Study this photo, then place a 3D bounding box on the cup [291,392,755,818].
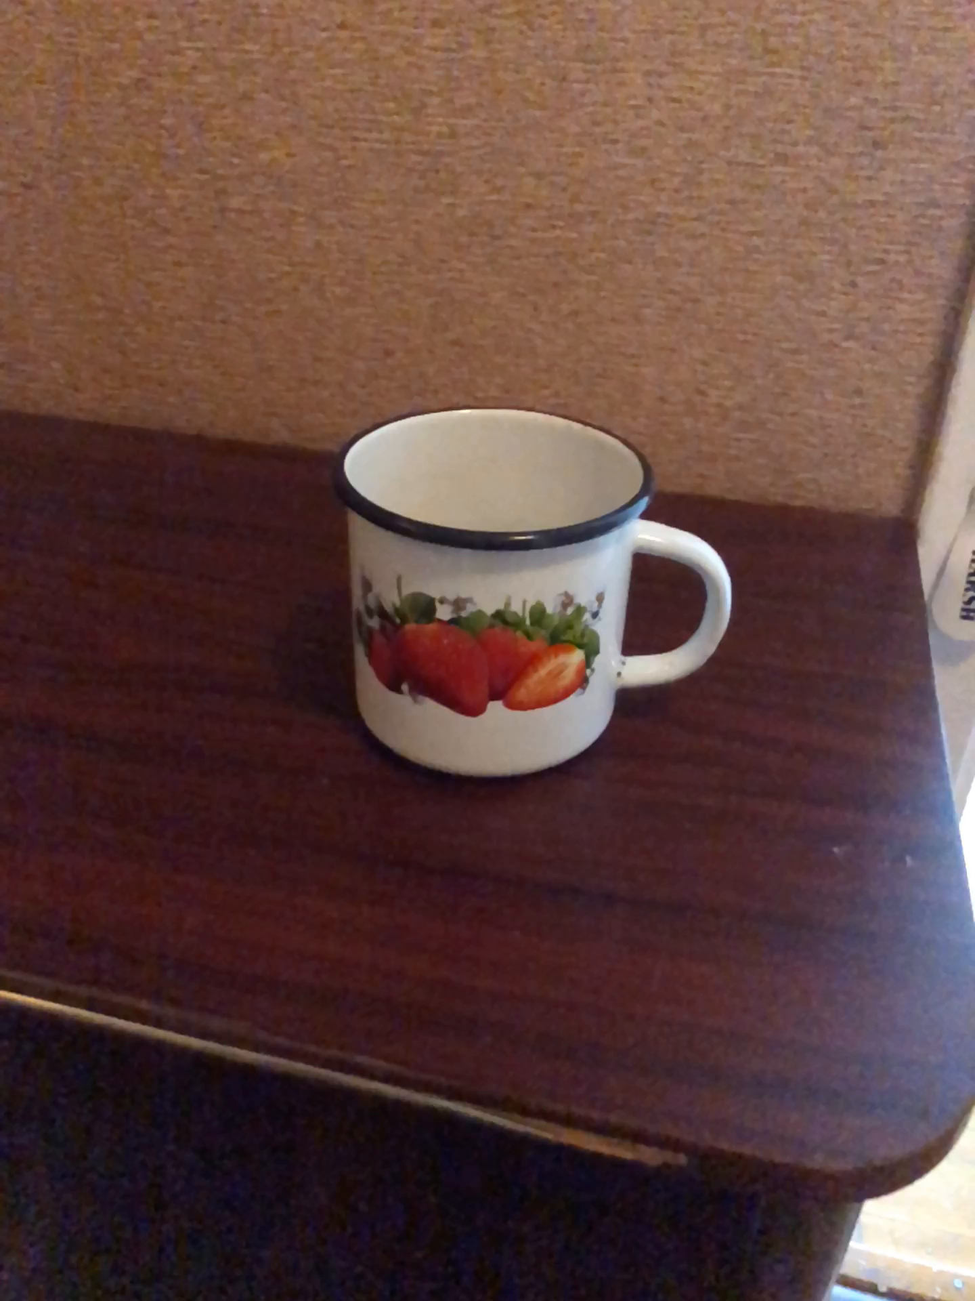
[{"bbox_3d":[0.019,-0.025,0.434,0.155,0.113,0.119,6,32,8],"label":"cup"}]
